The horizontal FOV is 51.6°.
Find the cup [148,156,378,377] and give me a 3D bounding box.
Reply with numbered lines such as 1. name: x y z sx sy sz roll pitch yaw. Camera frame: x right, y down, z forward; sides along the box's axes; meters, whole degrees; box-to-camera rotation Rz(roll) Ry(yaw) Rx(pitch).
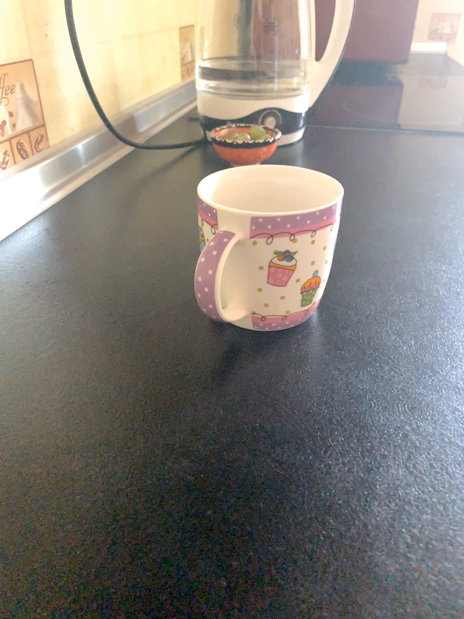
1. cup: 0.021 -0.035 0.291 0.080 0.080 0.110 23 39 32
